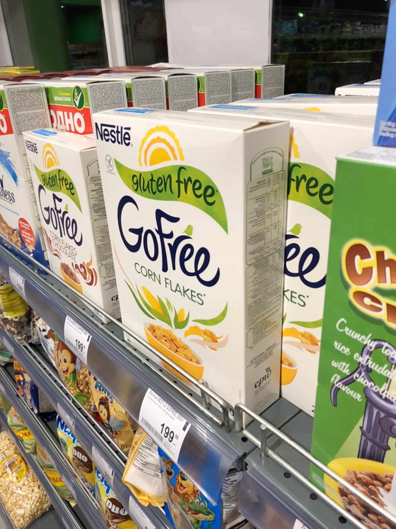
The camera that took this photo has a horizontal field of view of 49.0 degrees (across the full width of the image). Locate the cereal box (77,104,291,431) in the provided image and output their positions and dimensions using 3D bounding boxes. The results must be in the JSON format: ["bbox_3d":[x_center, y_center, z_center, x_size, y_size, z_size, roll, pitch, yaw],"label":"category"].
[{"bbox_3d":[-0.016,-0.009,0.399,0.060,0.249,0.191,-24,32,-37],"label":"cereal box"}]
